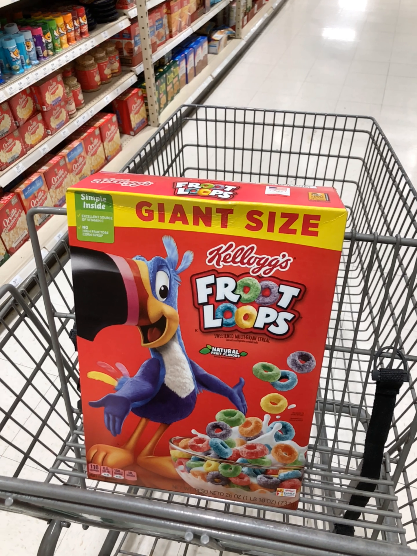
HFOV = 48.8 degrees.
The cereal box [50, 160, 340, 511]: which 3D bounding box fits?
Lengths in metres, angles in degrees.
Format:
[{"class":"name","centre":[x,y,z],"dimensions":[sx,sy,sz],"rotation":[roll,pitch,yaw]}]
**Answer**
[{"class":"cereal box","centre":[-0.020,0.071,0.519],"dimensions":[0.260,0.369,0.090],"rotation":[6,23,6]}]
